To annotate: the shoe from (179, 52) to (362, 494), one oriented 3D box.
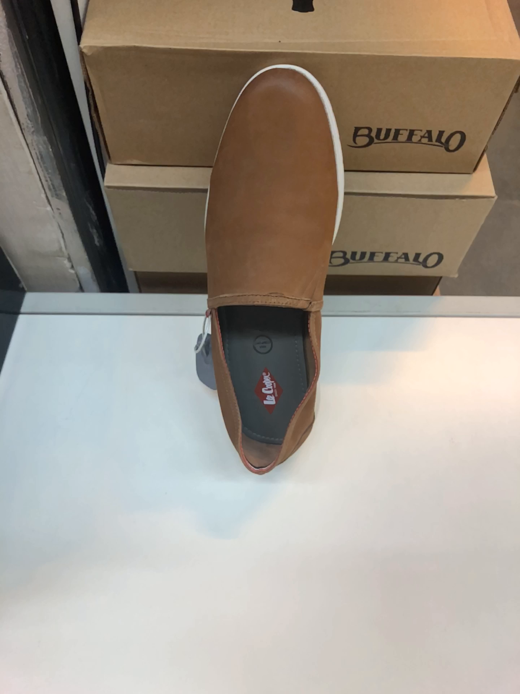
[{"bbox_3d":[0.010,-0.059,0.484,0.113,0.310,0.149,5,16,6],"label":"shoe"}]
